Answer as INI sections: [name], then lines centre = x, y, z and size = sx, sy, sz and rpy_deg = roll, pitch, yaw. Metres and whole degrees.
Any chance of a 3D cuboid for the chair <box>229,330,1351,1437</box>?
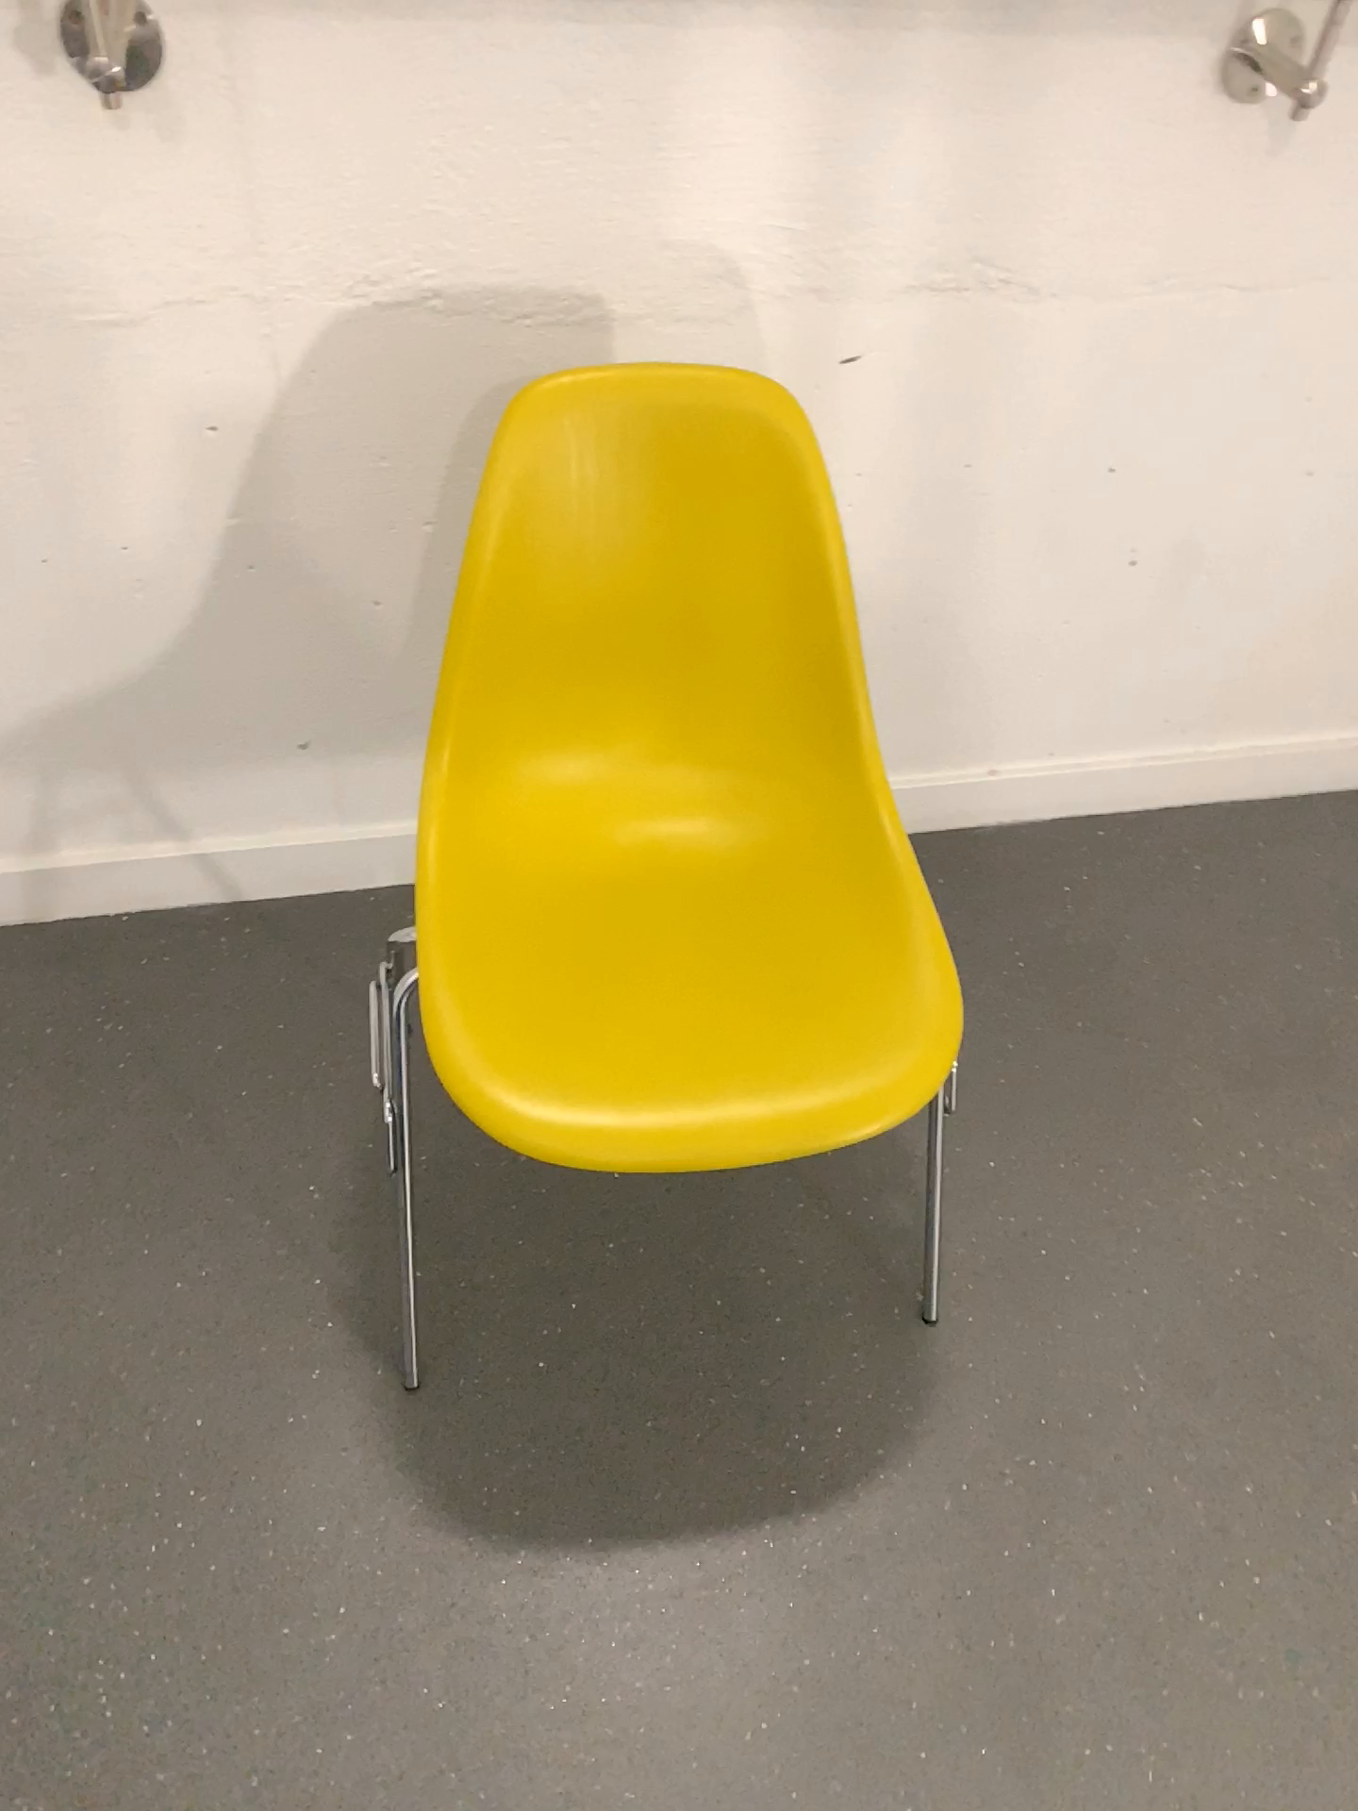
[chair]
centre = 0.005, -0.009, 1.194
size = 0.620, 0.733, 0.565
rpy_deg = -4, 48, -10
